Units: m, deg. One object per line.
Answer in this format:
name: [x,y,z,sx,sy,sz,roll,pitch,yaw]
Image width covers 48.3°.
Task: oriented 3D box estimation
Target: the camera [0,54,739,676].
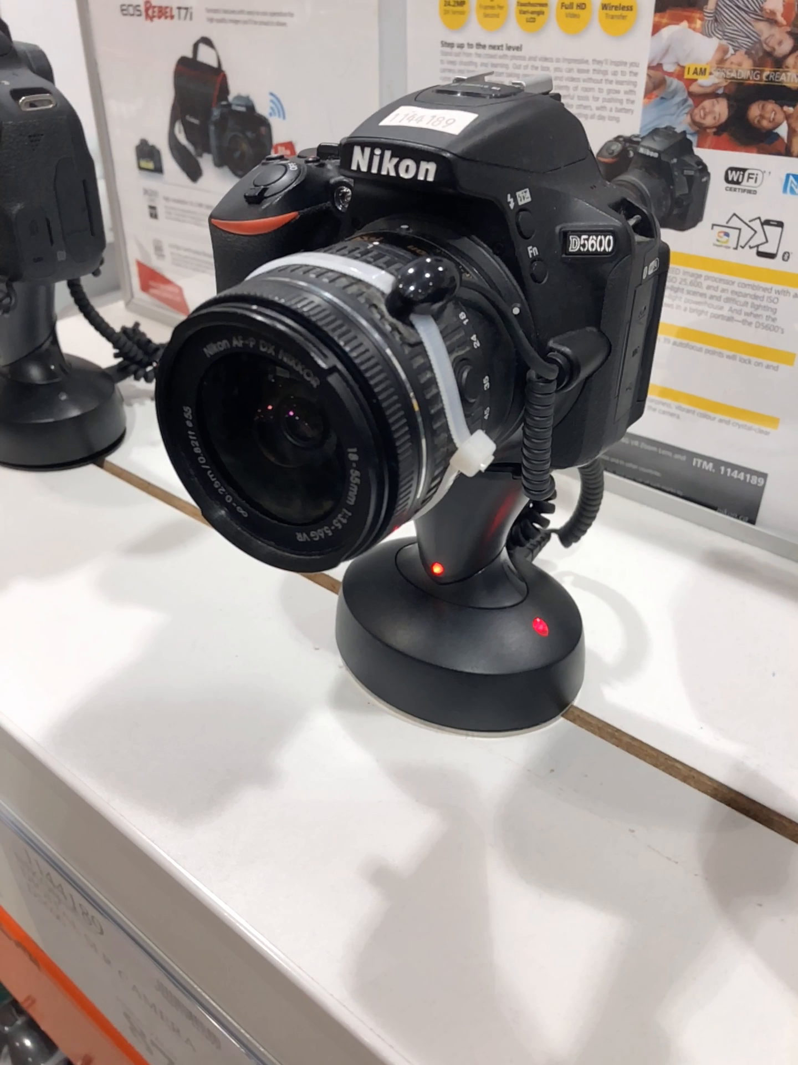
camera: [-0.006,-0.062,0.229,0.130,0.090,0.140,19,38,25]
